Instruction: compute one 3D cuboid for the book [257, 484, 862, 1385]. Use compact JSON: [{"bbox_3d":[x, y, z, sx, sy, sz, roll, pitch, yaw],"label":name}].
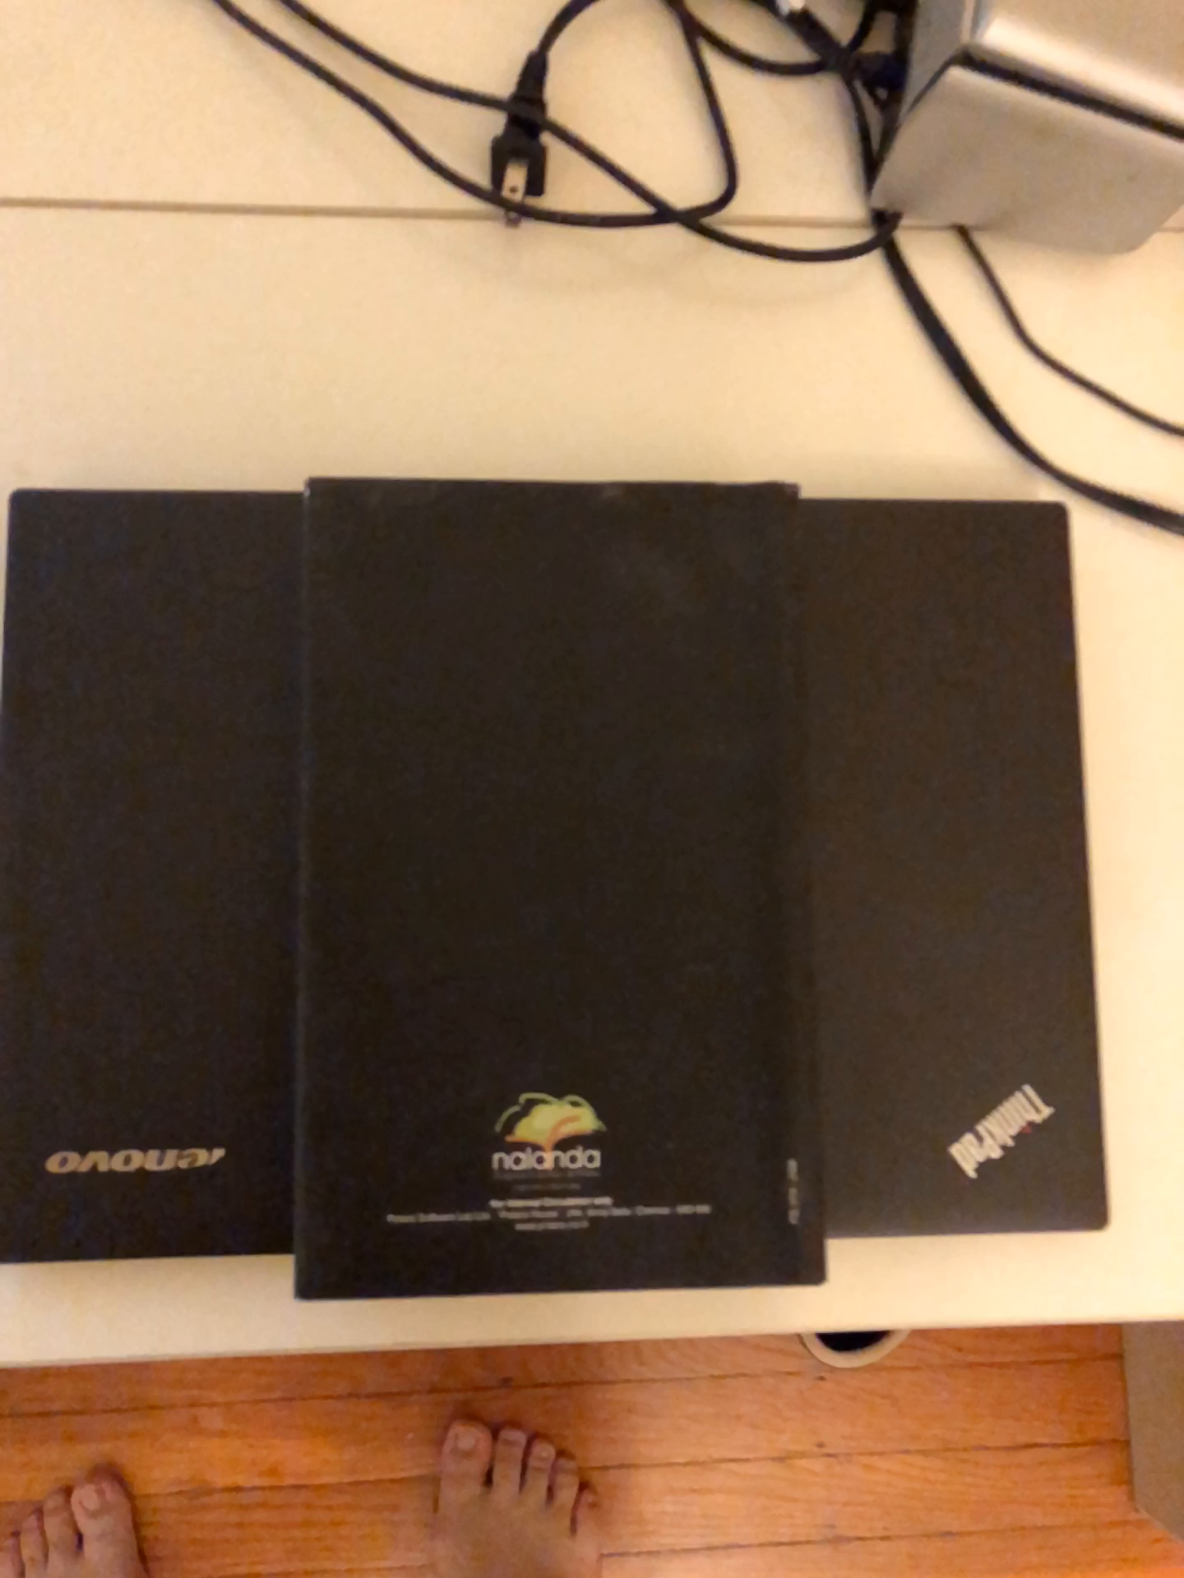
[{"bbox_3d":[-0.010,0.034,0.360,0.150,0.040,0.230,-1,82,-4],"label":"book"}]
